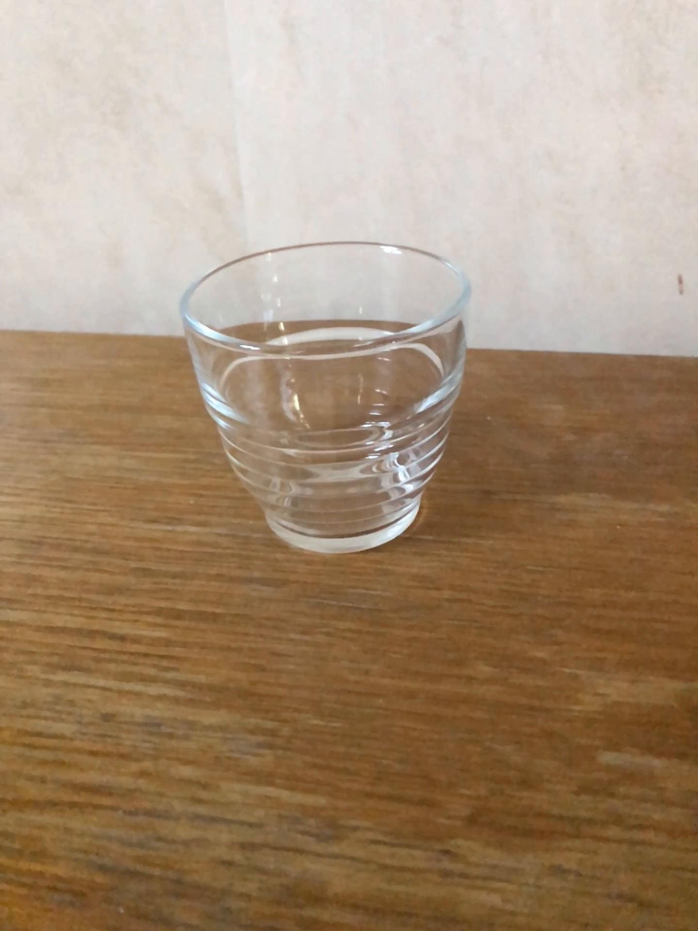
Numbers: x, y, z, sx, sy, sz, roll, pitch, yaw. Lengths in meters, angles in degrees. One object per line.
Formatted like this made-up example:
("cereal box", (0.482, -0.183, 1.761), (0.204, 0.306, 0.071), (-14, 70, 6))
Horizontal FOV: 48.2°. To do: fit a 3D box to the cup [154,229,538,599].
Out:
("cup", (-0.006, -0.019, 0.209), (0.080, 0.060, 0.080), (-1, 32, 1))
